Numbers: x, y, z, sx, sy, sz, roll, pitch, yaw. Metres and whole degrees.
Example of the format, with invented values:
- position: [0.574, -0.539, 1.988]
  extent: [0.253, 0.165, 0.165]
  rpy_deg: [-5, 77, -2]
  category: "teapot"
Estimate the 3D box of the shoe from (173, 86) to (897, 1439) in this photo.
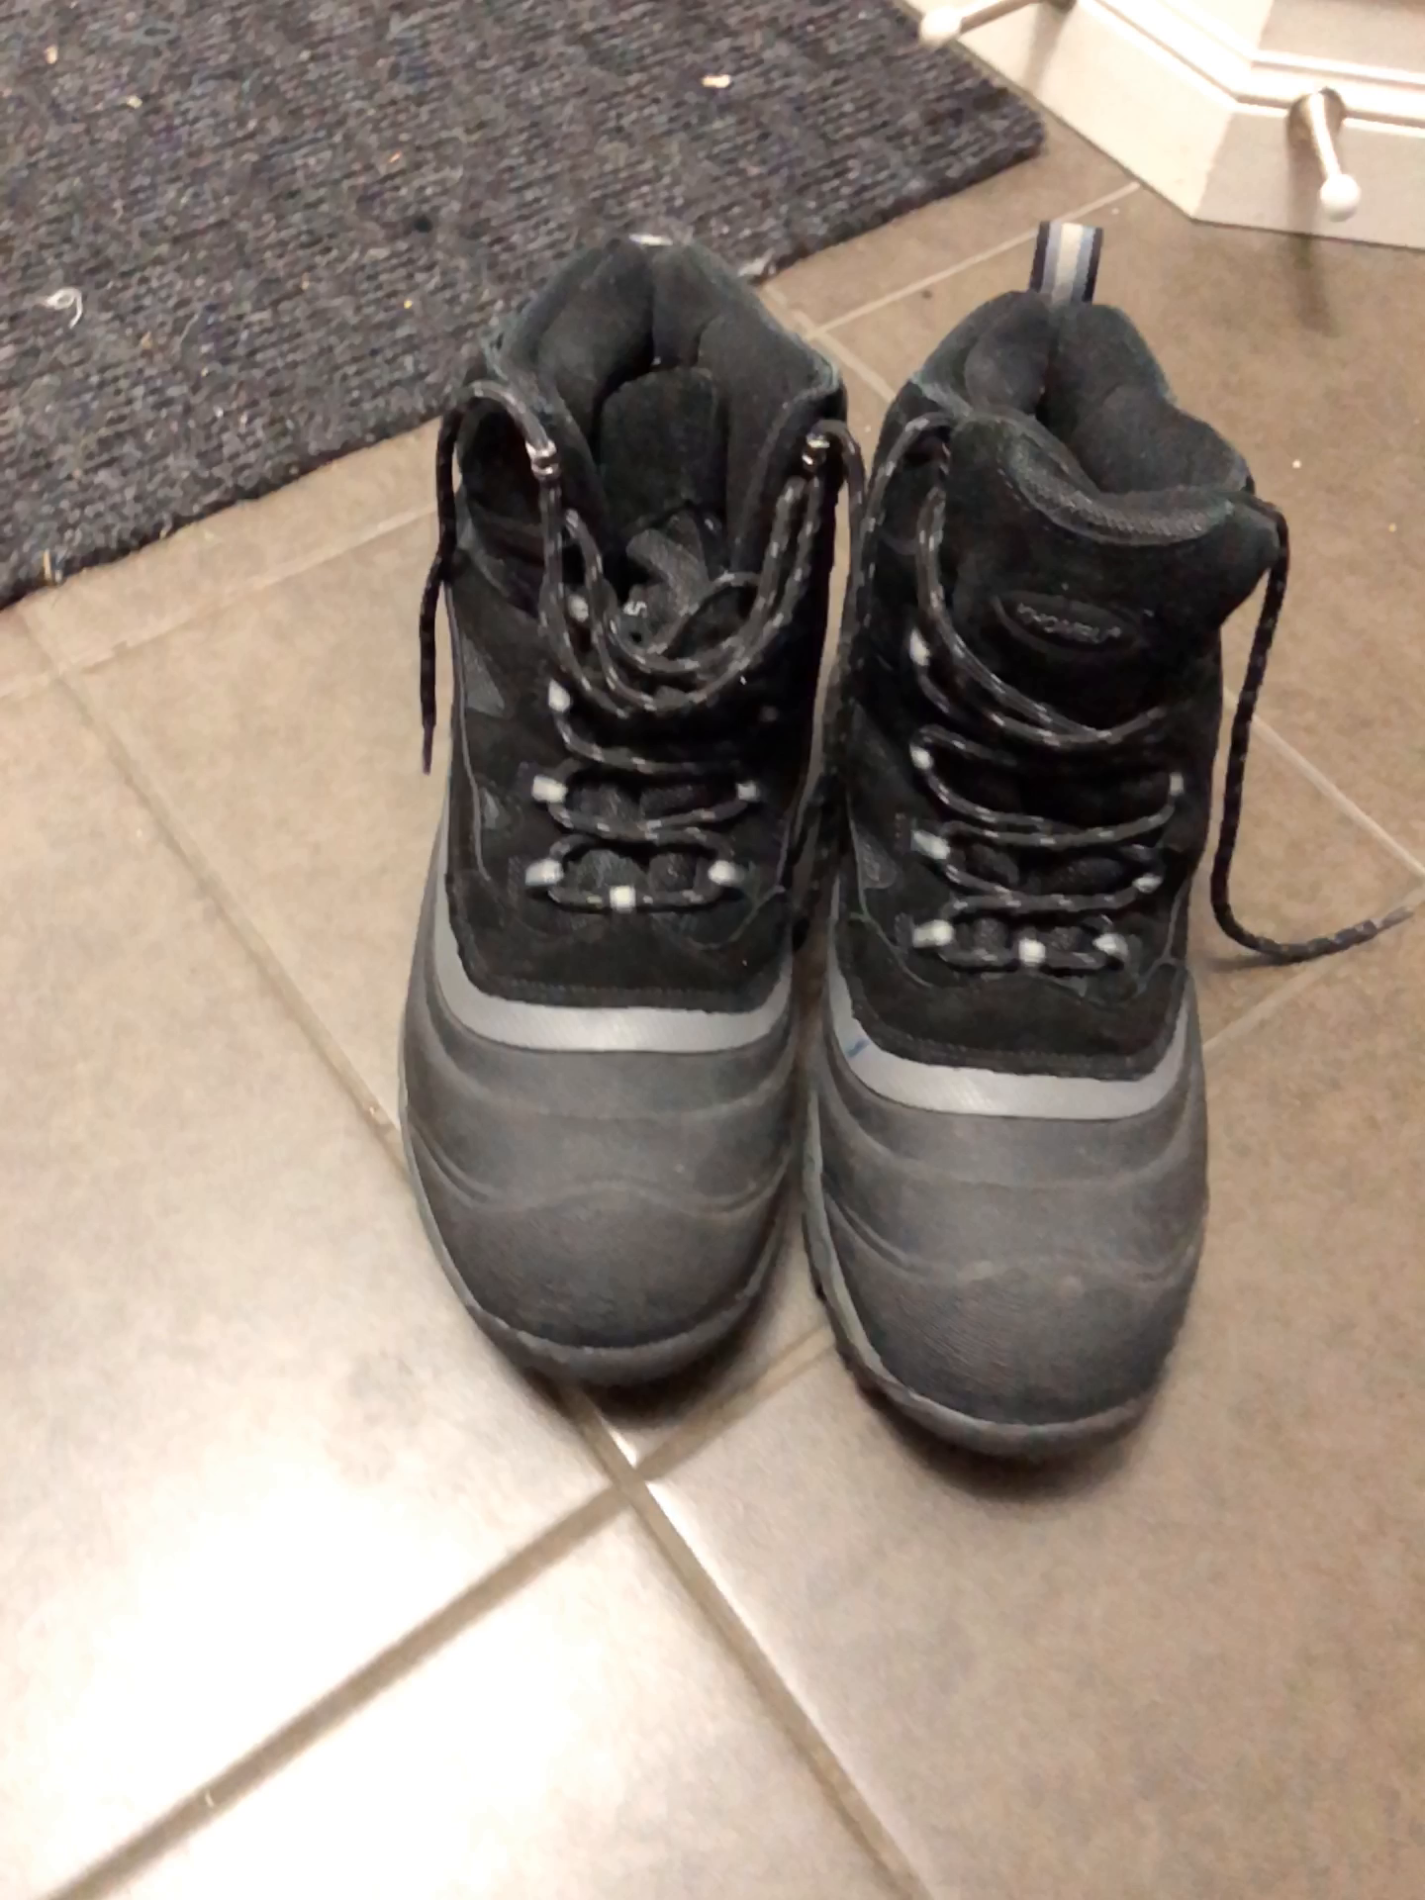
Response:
- position: [-0.029, -0.045, 0.424]
  extent: [0.120, 0.200, 0.291]
  rpy_deg: [4, 59, -2]
  category: "shoe"

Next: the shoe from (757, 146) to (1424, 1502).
- position: [0.082, -0.028, 0.420]
  extent: [0.120, 0.200, 0.291]
  rpy_deg: [3, 59, -3]
  category: "shoe"
